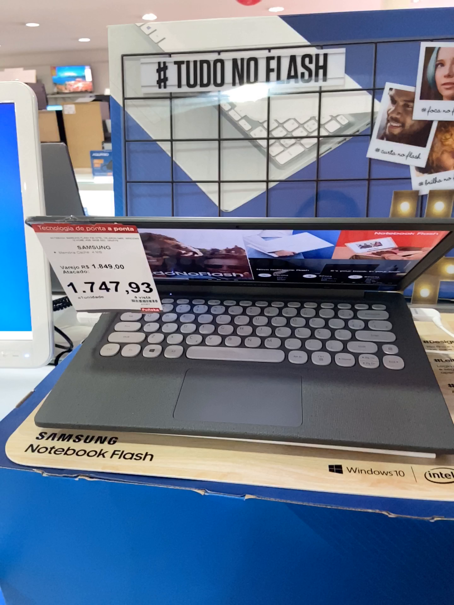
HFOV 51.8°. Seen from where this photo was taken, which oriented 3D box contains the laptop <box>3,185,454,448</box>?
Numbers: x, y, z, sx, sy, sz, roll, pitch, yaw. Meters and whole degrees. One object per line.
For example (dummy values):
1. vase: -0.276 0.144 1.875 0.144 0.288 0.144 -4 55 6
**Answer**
1. laptop: 0.015 -0.010 0.420 0.323 0.114 0.212 1 29 8
